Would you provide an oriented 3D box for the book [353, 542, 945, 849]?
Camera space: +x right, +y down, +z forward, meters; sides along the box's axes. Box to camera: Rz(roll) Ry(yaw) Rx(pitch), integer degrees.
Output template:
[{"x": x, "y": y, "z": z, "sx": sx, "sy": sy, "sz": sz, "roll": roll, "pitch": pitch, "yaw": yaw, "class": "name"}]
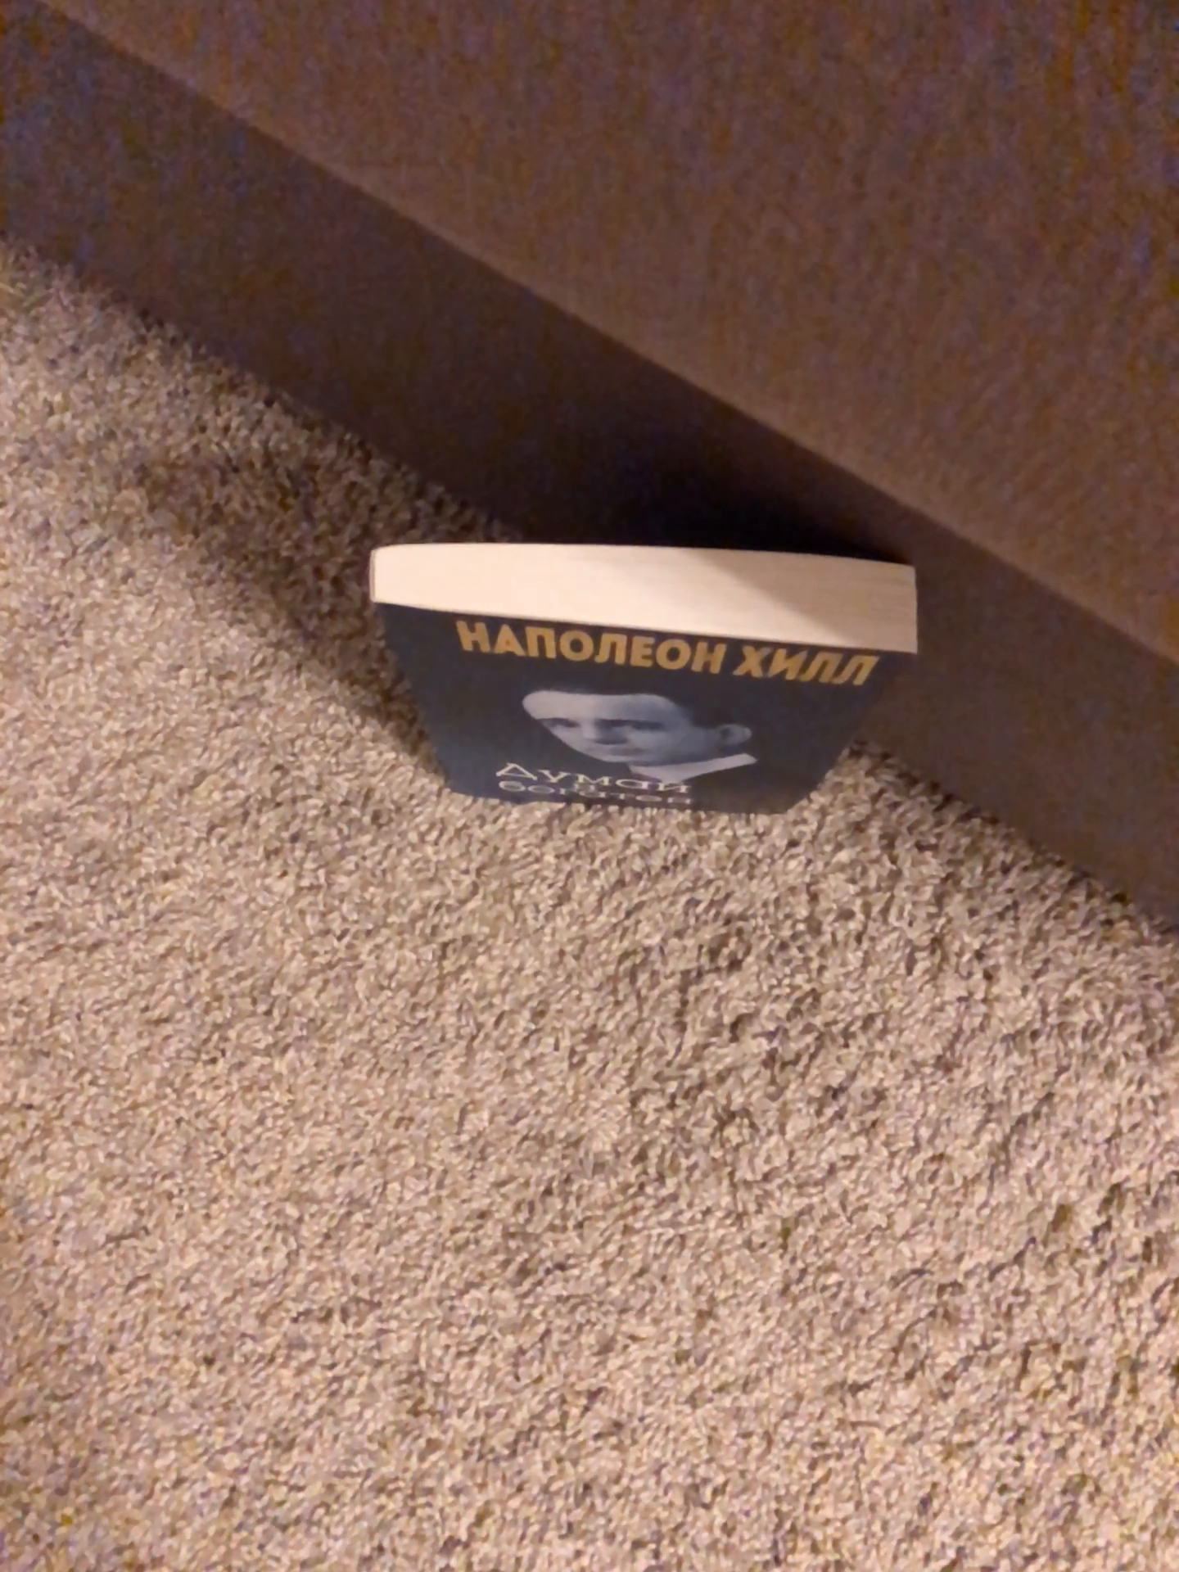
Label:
[{"x": 0.011, "y": -0.016, "z": 0.388, "sx": 0.132, "sy": 0.199, "sz": 0.030, "roll": 2, "pitch": 77, "yaw": -1, "class": "book"}]
